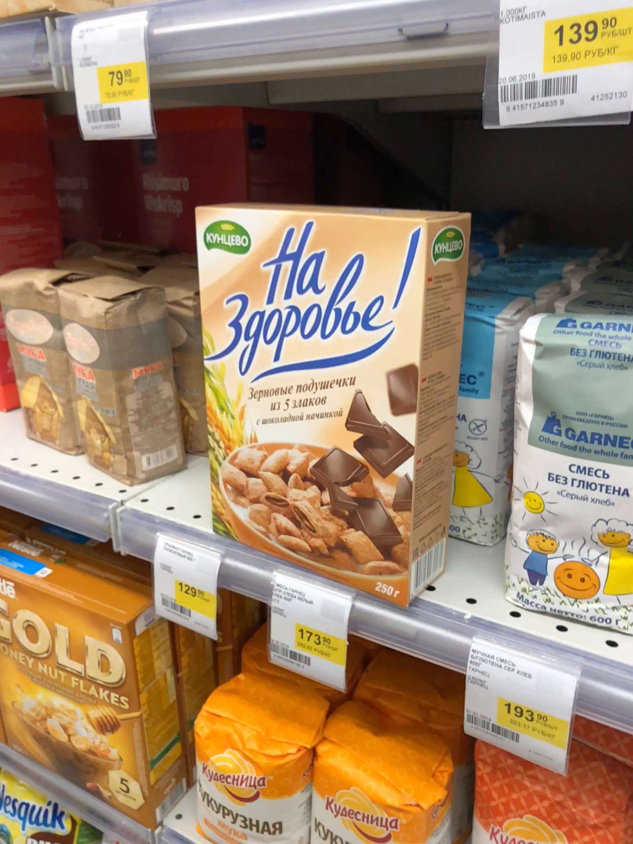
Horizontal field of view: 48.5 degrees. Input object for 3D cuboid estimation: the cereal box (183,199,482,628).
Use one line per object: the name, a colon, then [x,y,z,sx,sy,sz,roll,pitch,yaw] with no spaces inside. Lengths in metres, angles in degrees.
cereal box: [0.004,-0.014,0.412,0.160,0.219,0.050,13,24,34]
